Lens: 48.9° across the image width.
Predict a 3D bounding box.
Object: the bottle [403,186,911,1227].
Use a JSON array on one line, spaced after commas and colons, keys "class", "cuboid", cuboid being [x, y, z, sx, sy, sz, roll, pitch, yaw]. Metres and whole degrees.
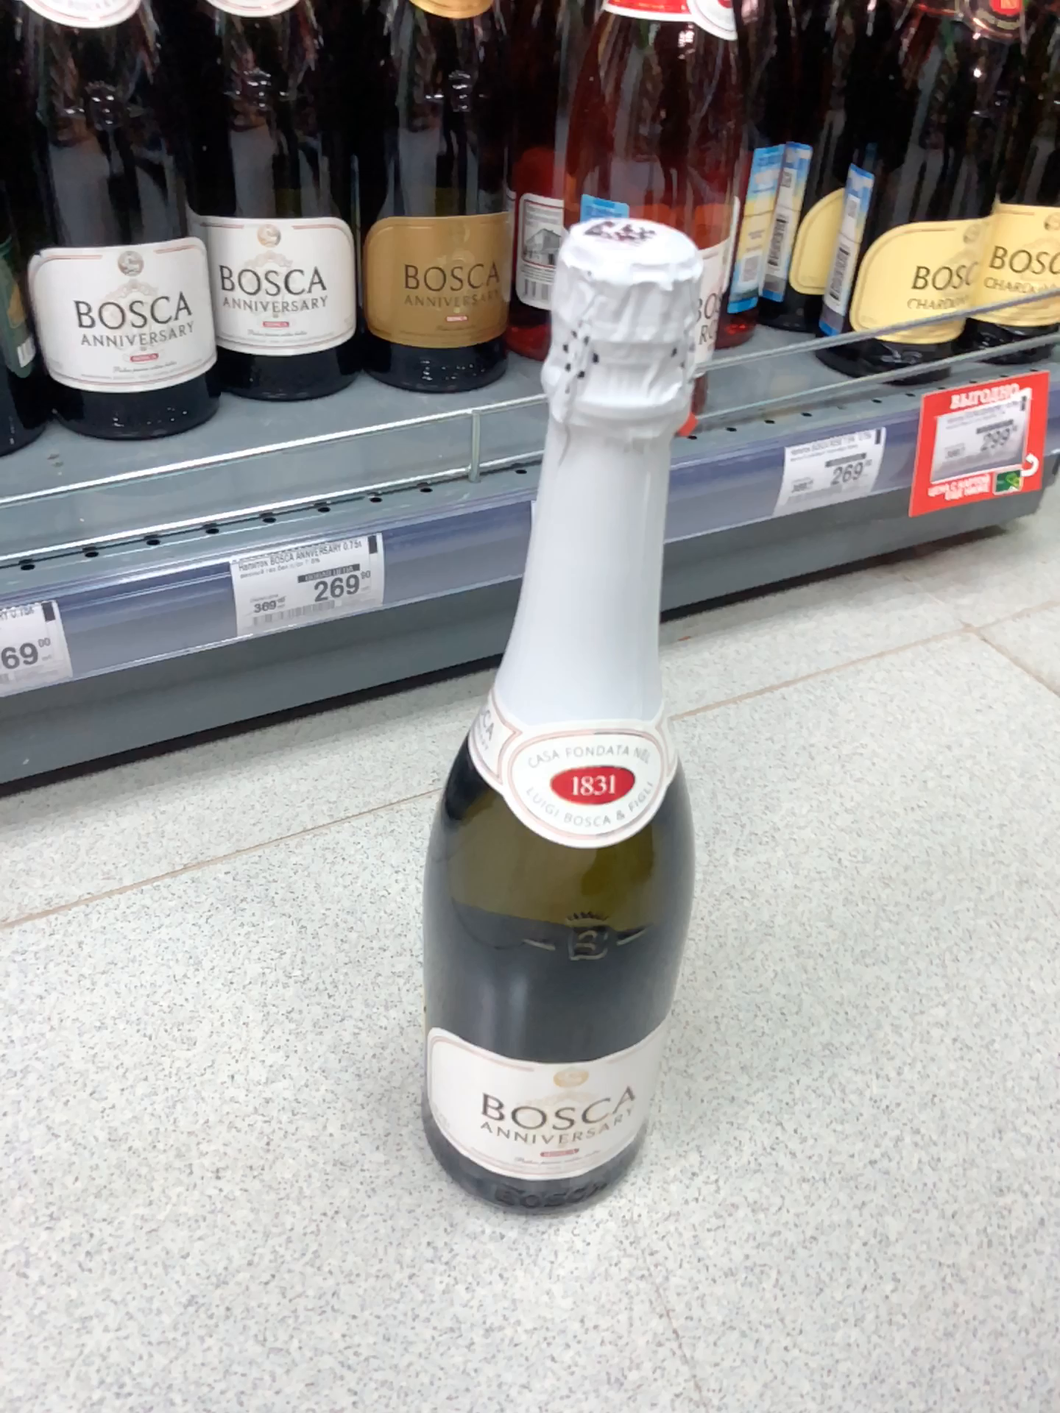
[{"class": "bottle", "cuboid": [0.011, 0.025, 0.341, 0.090, 0.308, 0.091, 3, 38, -2]}]
